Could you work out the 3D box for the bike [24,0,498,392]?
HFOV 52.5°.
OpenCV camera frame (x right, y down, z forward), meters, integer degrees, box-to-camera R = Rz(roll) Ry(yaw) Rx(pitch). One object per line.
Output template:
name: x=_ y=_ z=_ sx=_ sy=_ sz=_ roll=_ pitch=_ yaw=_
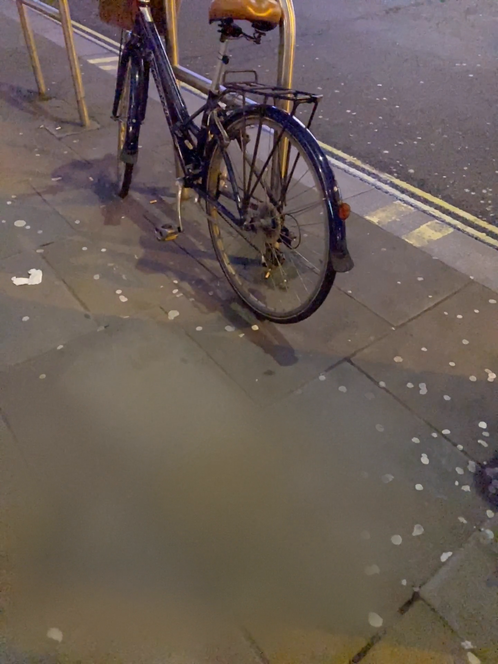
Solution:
bike: x=-0.162 y=-0.800 z=1.896 sx=0.661 sy=1.063 sz=1.716 roll=-22 pitch=46 yaw=-23
